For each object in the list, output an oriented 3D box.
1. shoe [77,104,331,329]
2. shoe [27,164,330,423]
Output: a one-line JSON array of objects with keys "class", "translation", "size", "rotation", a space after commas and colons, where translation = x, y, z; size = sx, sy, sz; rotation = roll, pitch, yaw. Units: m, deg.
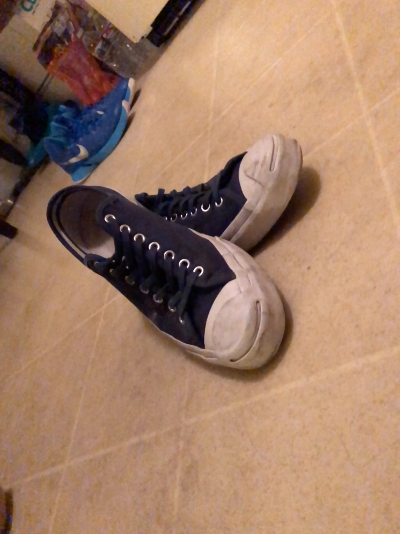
[{"class": "shoe", "translation": [-0.012, -0.039, 0.499], "size": [0.291, 0.080, 0.110], "rotation": [-28, 45, 33]}, {"class": "shoe", "translation": [-0.043, 0.001, 0.416], "size": [0.292, 0.100, 0.100], "rotation": [32, 111, 38]}]
